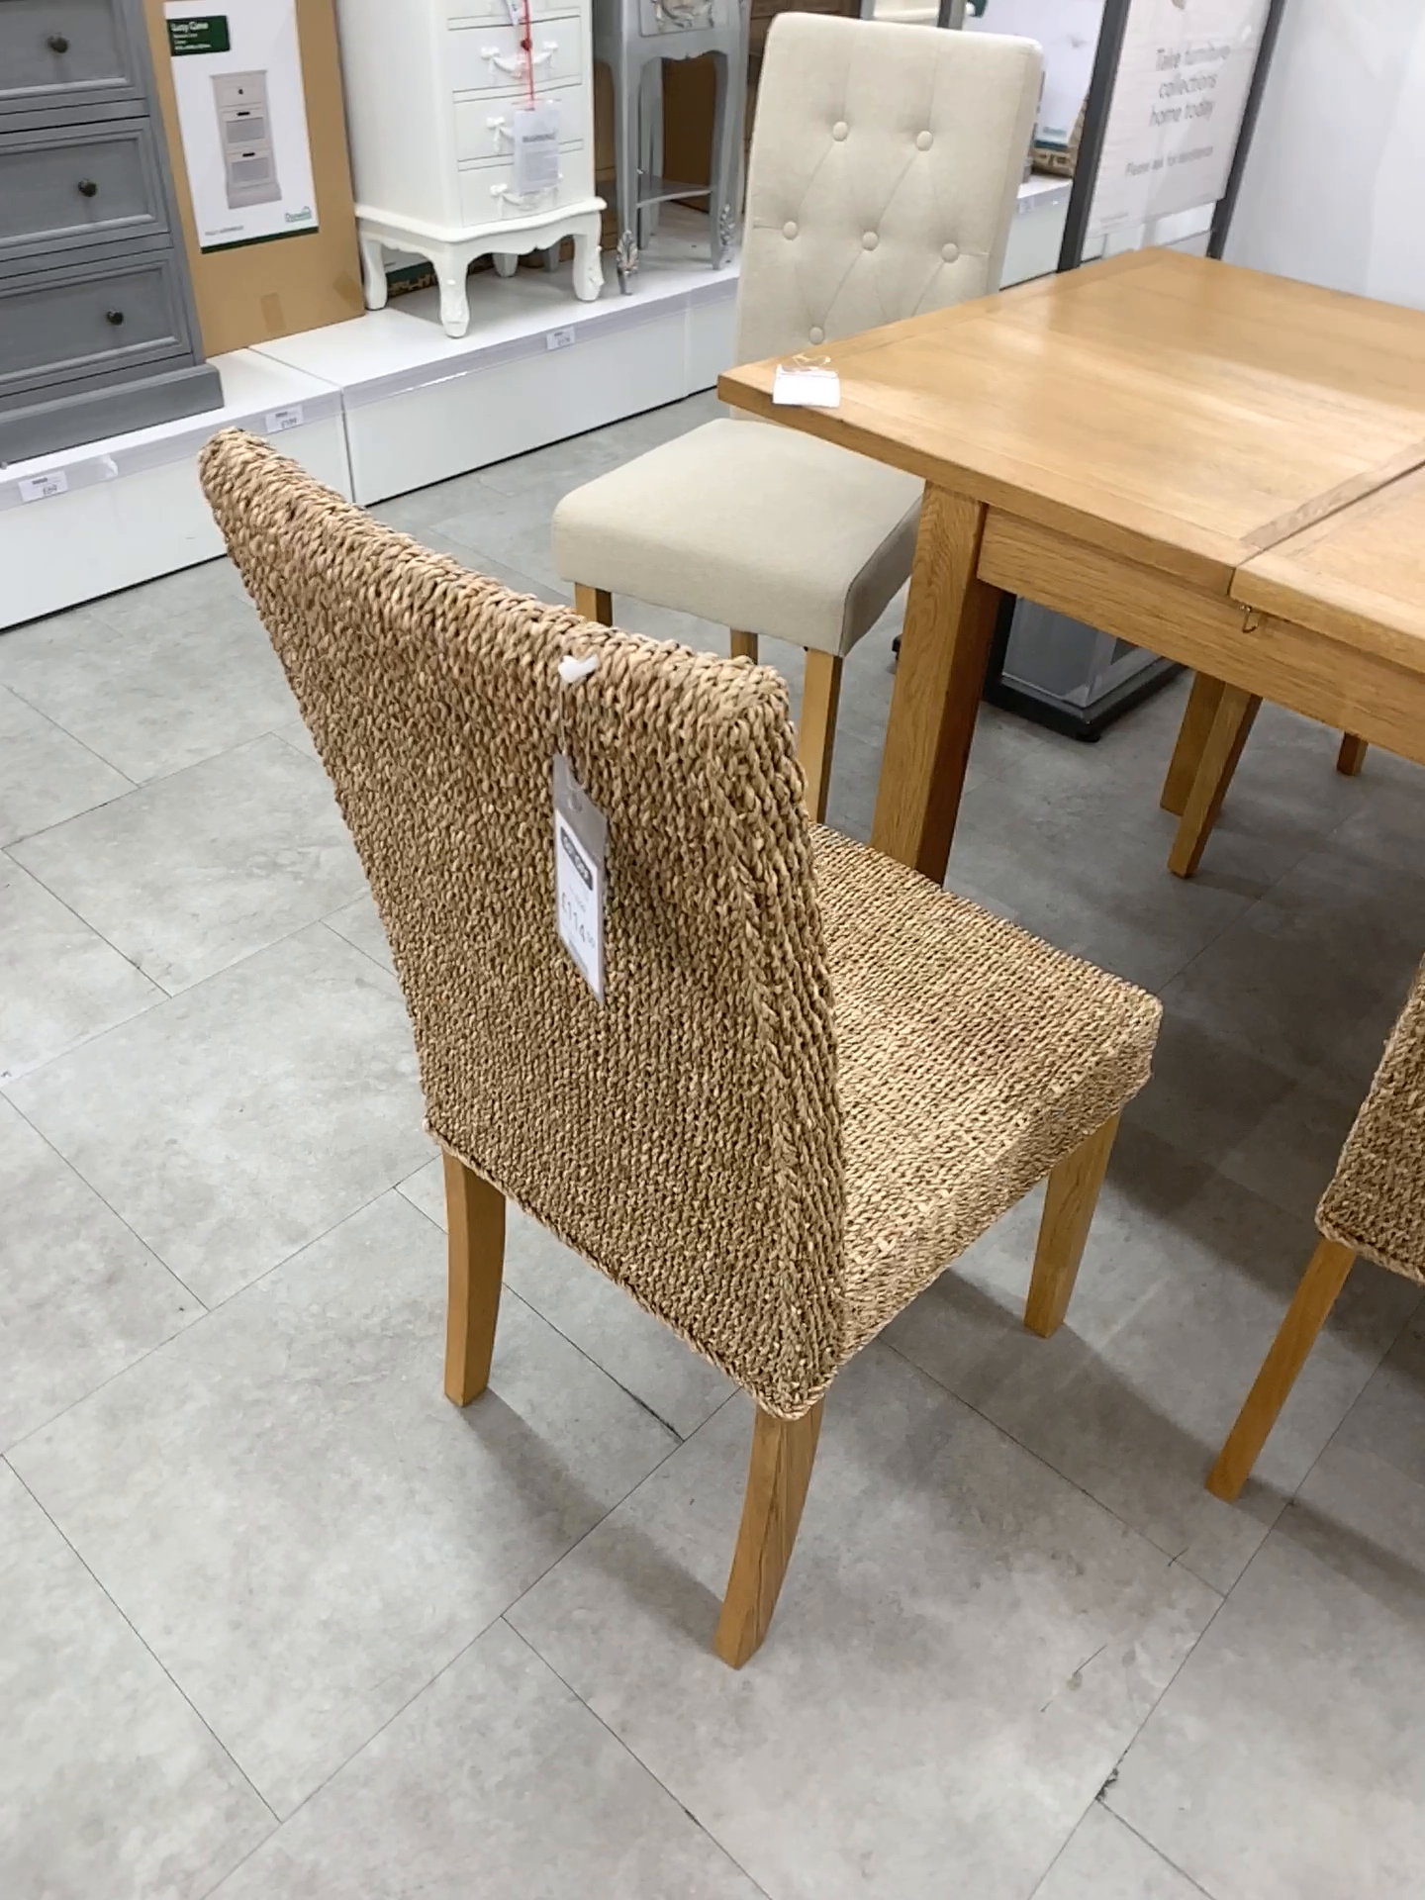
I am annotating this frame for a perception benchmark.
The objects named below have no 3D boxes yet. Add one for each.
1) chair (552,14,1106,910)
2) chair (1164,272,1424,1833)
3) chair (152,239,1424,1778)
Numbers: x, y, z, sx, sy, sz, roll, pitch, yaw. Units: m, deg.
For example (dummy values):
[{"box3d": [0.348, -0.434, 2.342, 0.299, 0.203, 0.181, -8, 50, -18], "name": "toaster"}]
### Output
[{"box3d": [0.128, -0.610, 1.841, 0.398, 0.903, 0.516, 23, 43, 23], "name": "chair"}, {"box3d": [0.746, 0.078, 1.063, 0.439, 0.893, 0.556, 26, 44, 26], "name": "chair"}, {"box3d": [0.052, 0.041, 1.110, 0.489, 0.903, 0.565, 31, 47, 30], "name": "chair"}]
